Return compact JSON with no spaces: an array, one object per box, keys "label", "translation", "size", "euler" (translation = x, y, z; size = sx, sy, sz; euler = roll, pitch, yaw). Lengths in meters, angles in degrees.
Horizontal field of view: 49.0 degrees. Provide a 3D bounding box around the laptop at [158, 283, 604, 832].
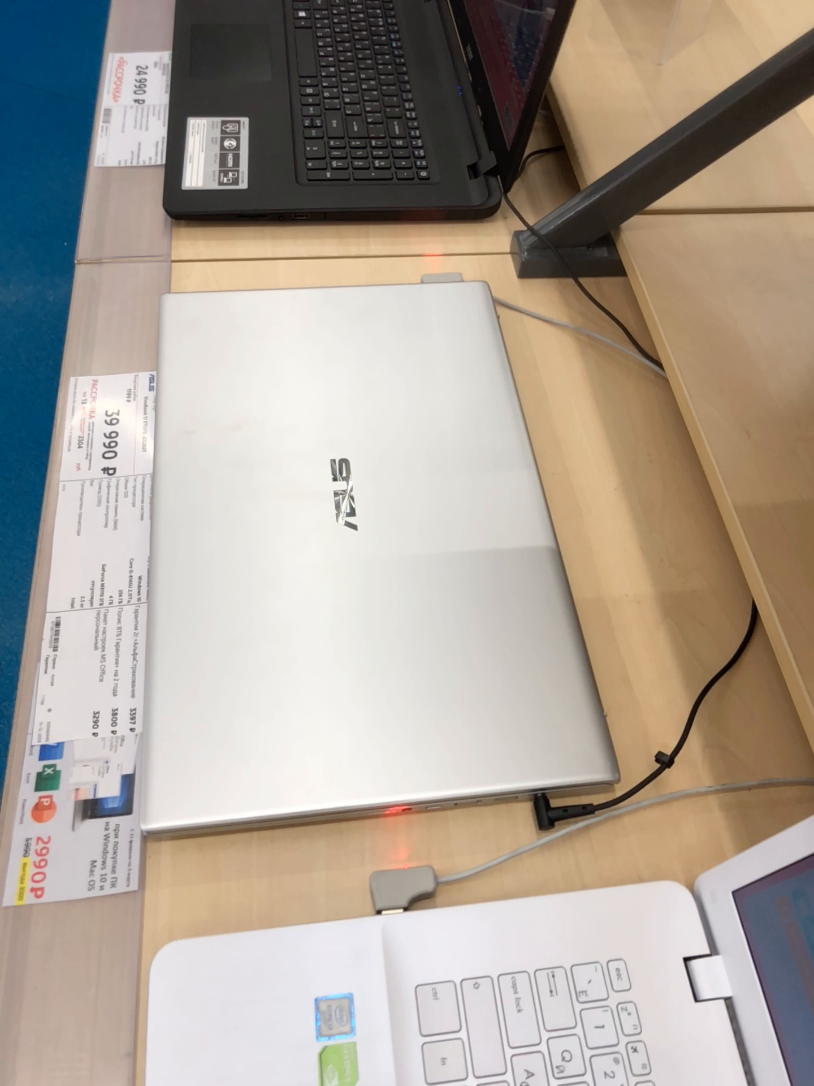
[{"label":"laptop","translation":[-0.035,-0.027,0.573],"size":[0.232,0.006,0.393],"euler":[-5,56,-5]}]
